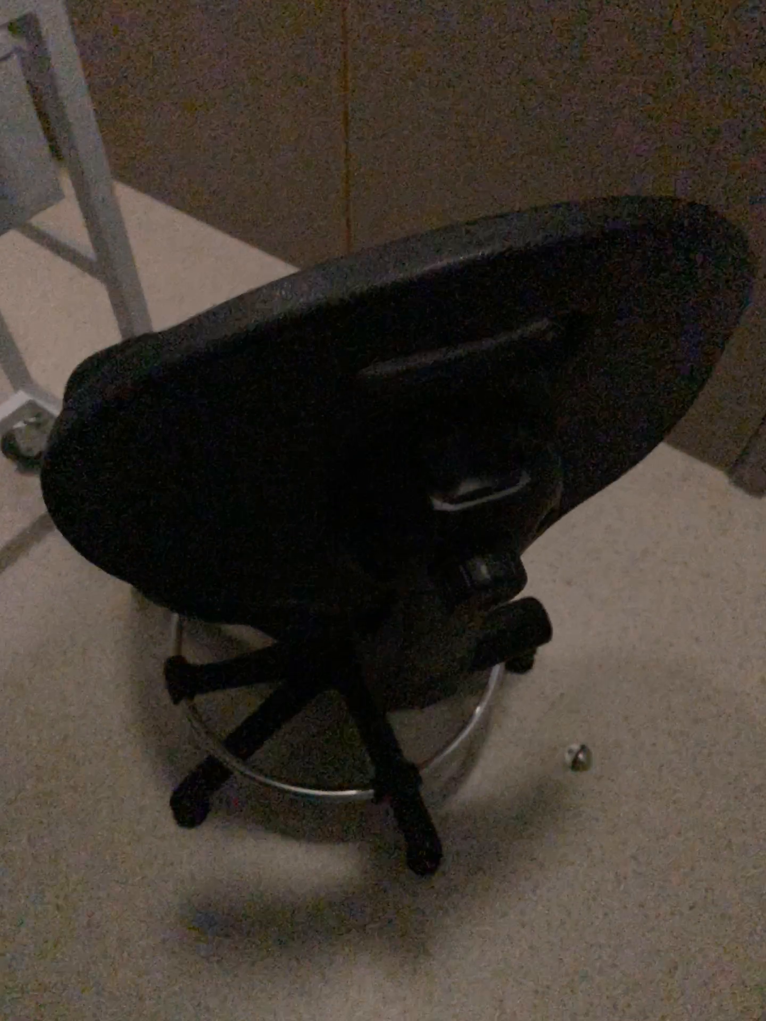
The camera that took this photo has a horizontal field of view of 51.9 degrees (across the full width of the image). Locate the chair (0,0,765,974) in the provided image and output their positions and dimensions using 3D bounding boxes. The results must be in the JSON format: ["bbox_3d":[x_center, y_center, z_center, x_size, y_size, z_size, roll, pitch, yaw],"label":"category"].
[{"bbox_3d":[-0.030,-0.074,0.780,0.621,0.933,0.675,-16,57,-12],"label":"chair"}]
